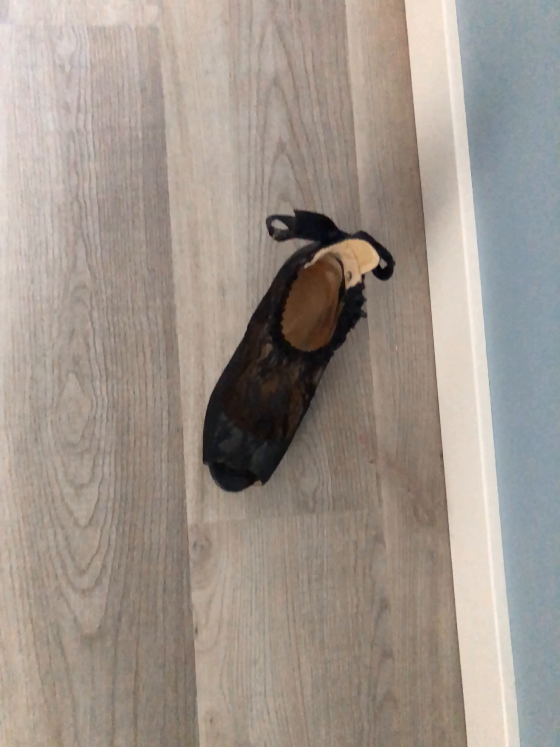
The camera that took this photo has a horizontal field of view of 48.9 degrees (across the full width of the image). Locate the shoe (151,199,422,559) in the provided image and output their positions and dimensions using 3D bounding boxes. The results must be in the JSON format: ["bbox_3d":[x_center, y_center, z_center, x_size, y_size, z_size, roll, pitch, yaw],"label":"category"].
[{"bbox_3d":[-0.001,0.007,0.481,0.100,0.140,0.220,26,82,-5],"label":"shoe"}]
